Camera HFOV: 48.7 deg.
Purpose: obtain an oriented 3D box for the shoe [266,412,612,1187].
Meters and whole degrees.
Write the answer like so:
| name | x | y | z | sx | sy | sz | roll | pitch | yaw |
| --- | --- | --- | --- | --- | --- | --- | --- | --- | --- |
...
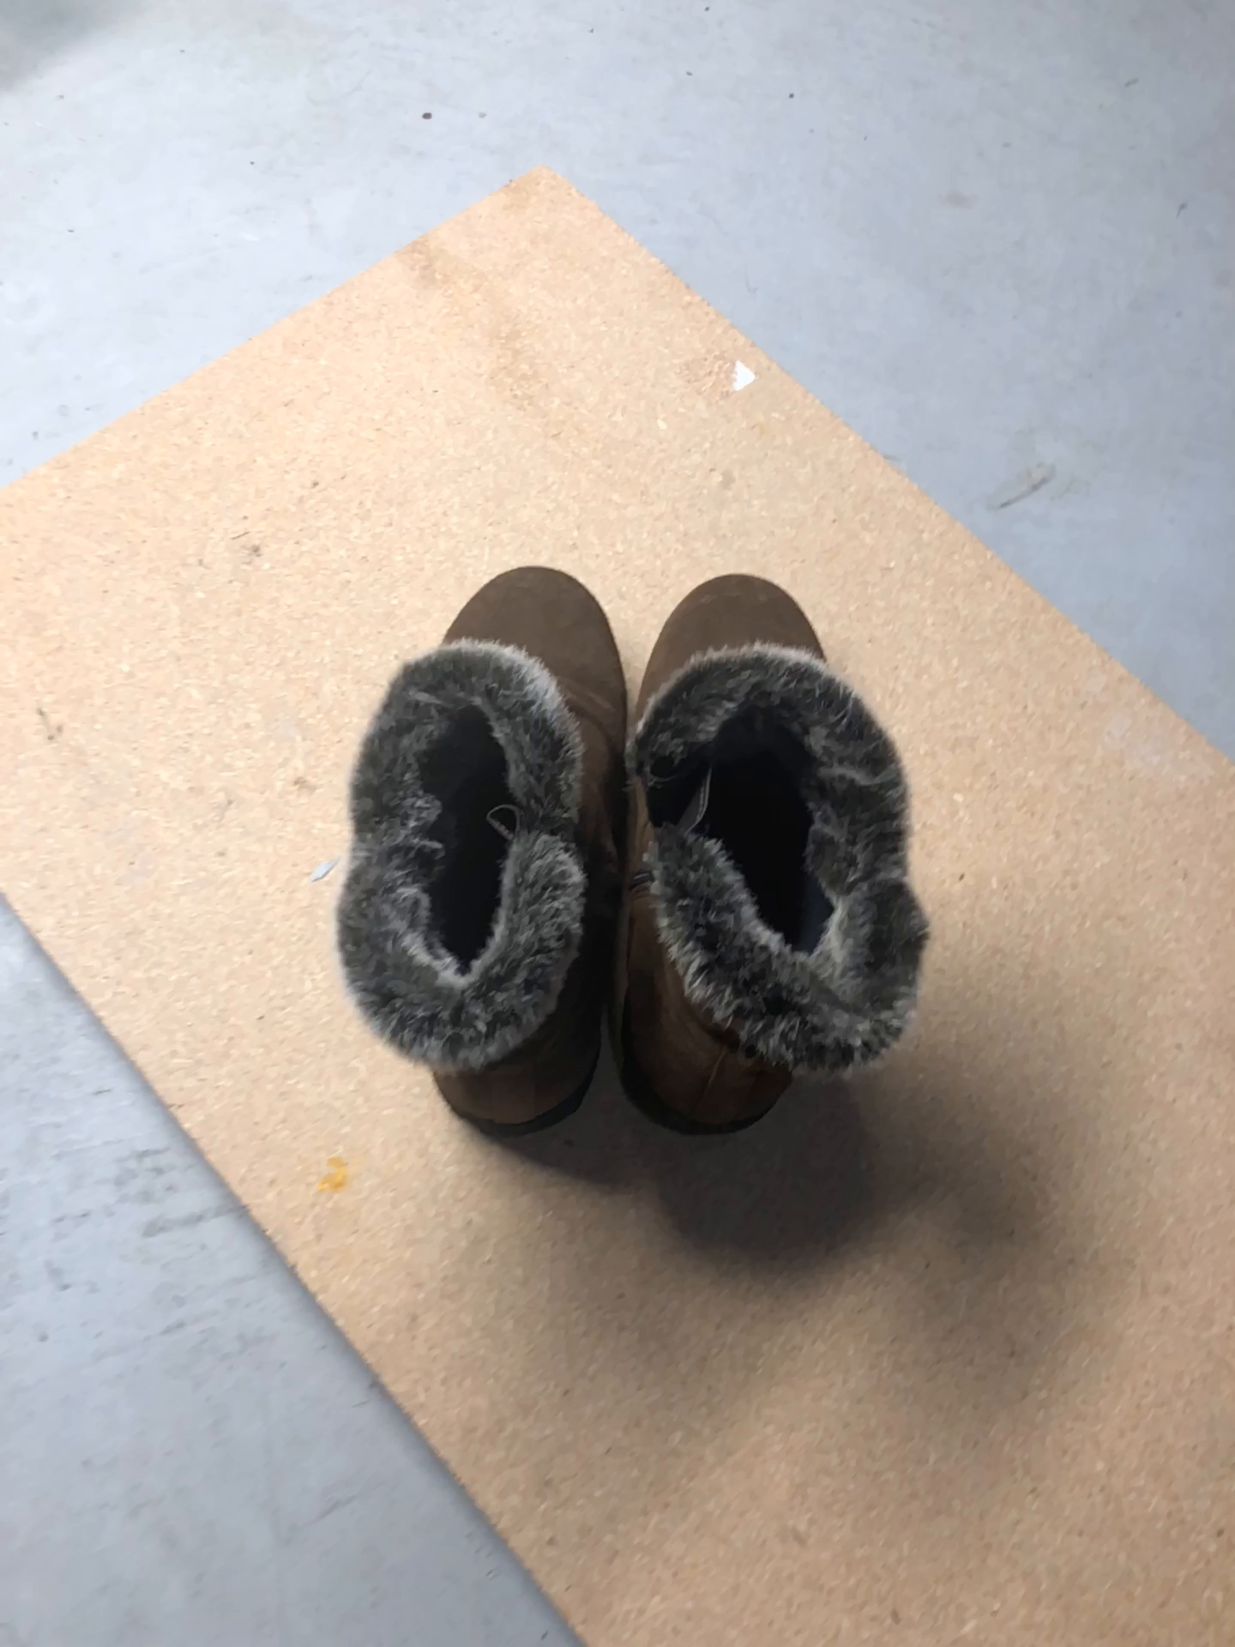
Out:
| name | x | y | z | sx | sy | sz | roll | pitch | yaw |
| --- | --- | --- | --- | --- | --- | --- | --- | --- | --- |
| shoe | -0.061 | 0.001 | 0.572 | 0.100 | 0.200 | 0.260 | 3 | 66 | -2 |

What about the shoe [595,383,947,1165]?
| name | x | y | z | sx | sy | sz | roll | pitch | yaw |
| --- | --- | --- | --- | --- | --- | --- | --- | --- | --- |
| shoe | 0.050 | -0.006 | 0.569 | 0.100 | 0.220 | 0.250 | 3 | 66 | -2 |
